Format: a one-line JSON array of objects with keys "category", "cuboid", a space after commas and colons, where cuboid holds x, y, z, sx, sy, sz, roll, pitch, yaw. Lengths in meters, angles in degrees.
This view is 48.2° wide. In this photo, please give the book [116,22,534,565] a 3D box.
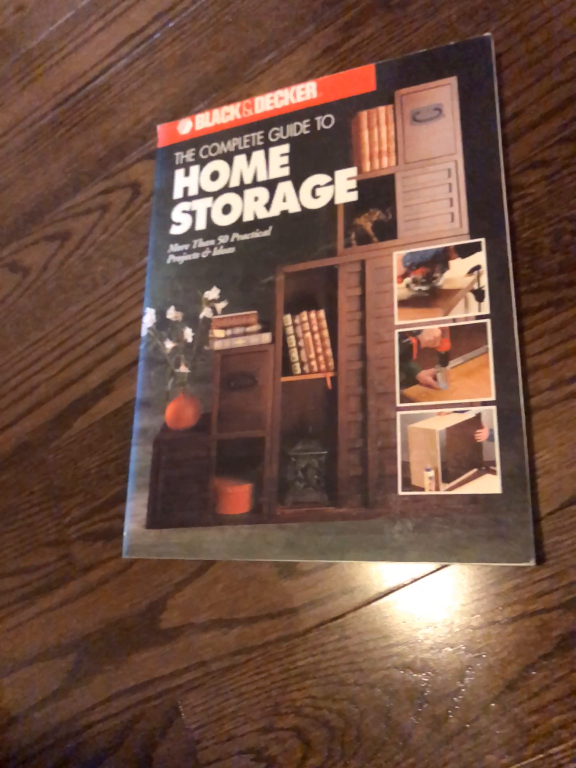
[{"category": "book", "cuboid": [0.011, -0.049, 0.362, 0.215, 0.020, 0.287, -5, 73, 21]}]
